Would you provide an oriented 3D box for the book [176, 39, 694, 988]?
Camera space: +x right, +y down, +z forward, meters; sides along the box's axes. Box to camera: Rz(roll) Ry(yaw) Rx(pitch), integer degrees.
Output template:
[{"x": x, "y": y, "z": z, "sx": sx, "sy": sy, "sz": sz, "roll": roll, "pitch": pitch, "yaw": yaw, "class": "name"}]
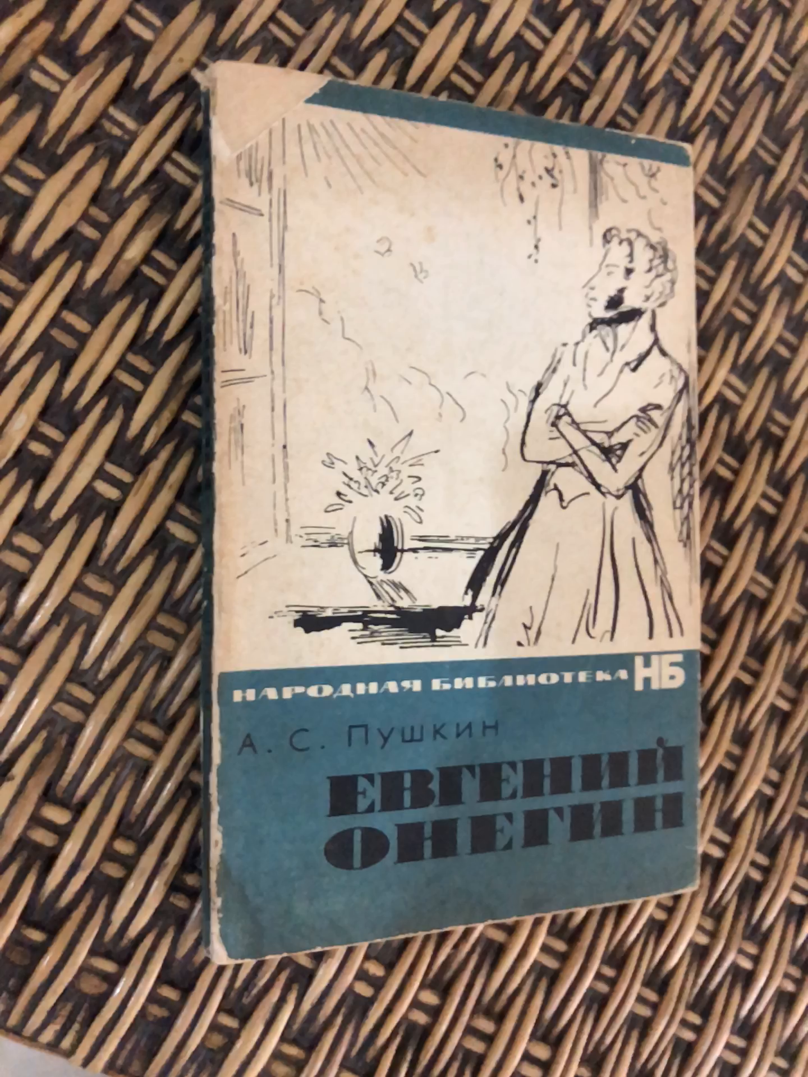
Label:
[{"x": 0.010, "y": -0.006, "z": 0.211, "sx": 0.120, "sy": 0.020, "sz": 0.190, "roll": 0, "pitch": 89, "yaw": -20, "class": "book"}]
